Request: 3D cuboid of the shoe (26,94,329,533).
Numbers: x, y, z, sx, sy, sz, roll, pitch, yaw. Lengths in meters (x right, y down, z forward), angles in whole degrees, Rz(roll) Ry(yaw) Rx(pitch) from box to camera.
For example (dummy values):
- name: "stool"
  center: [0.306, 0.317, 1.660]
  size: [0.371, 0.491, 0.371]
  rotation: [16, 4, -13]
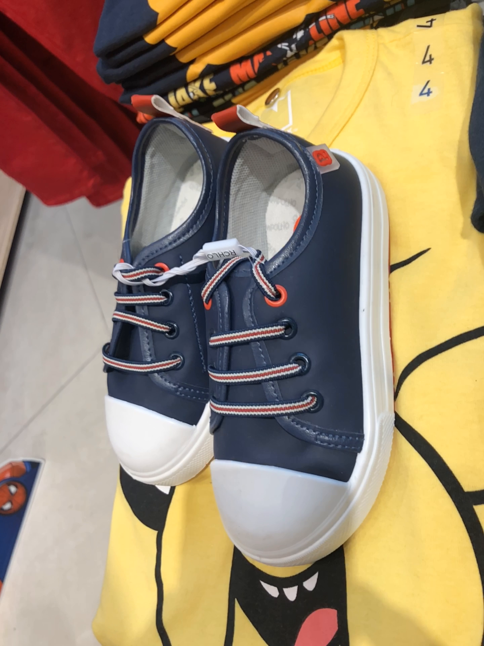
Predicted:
- name: "shoe"
  center: [-0.029, -0.004, 0.246]
  size: [0.080, 0.070, 0.160]
  rotation: [10, 87, 42]

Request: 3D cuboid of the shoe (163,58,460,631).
- name: "shoe"
  center: [0.031, 0.006, 0.211]
  size: [0.080, 0.070, 0.170]
  rotation: [-2, 79, 39]
